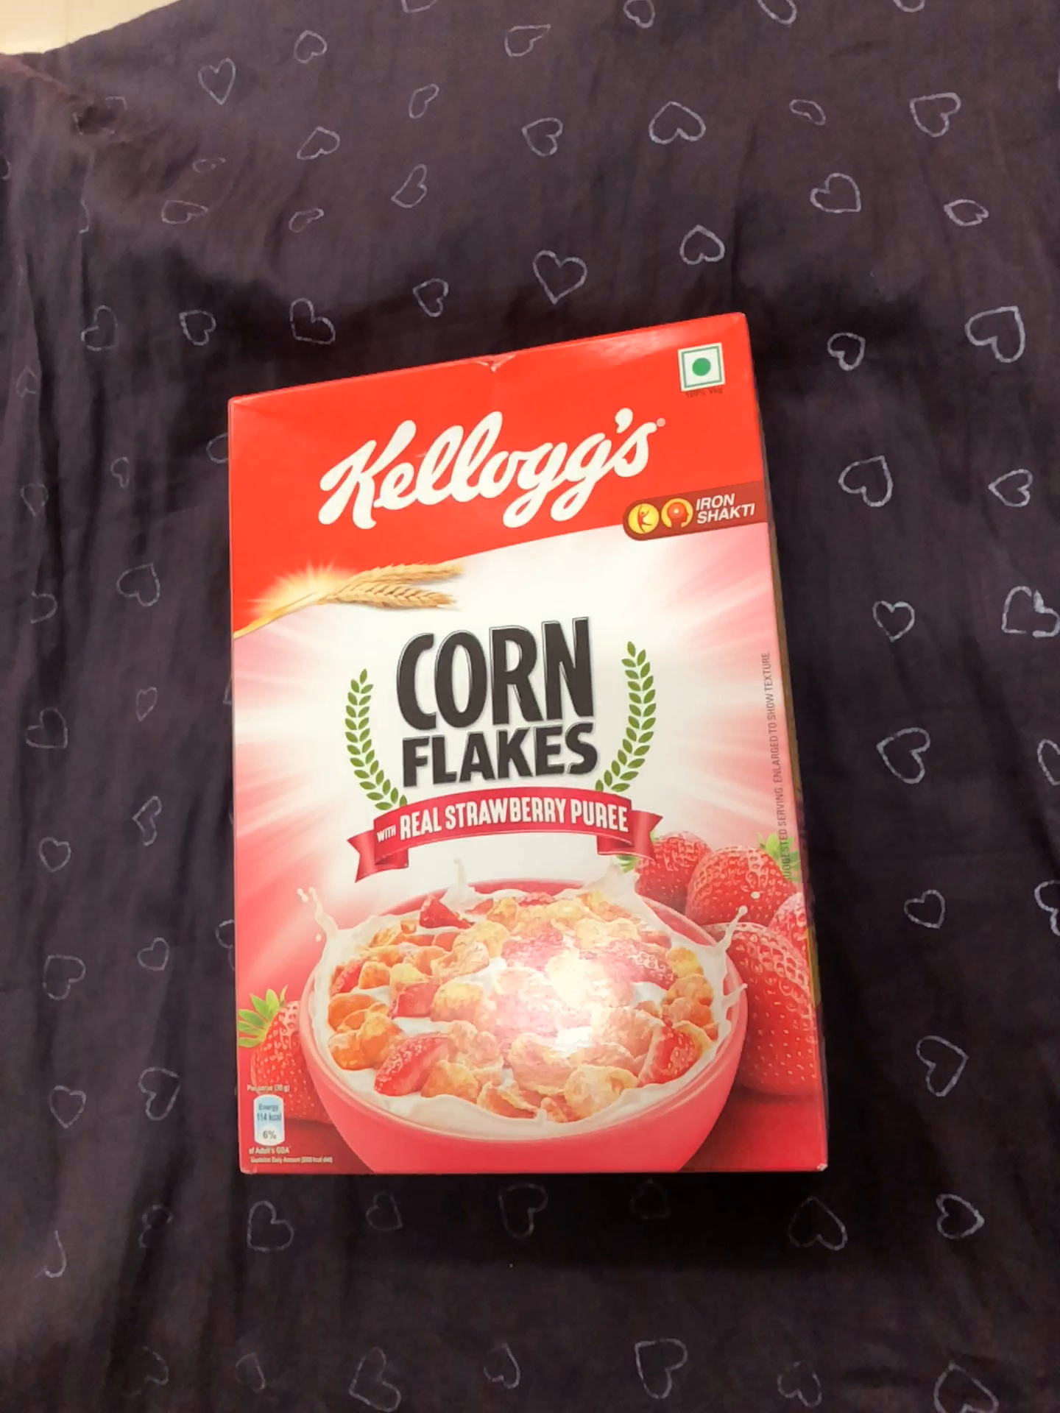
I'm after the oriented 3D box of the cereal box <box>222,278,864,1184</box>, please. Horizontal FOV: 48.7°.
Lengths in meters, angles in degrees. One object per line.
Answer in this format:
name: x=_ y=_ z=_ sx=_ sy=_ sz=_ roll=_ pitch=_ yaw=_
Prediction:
cereal box: x=0.000 y=0.012 z=0.400 sx=0.190 sy=0.070 sz=0.270 roll=-5 pitch=80 yaw=13
